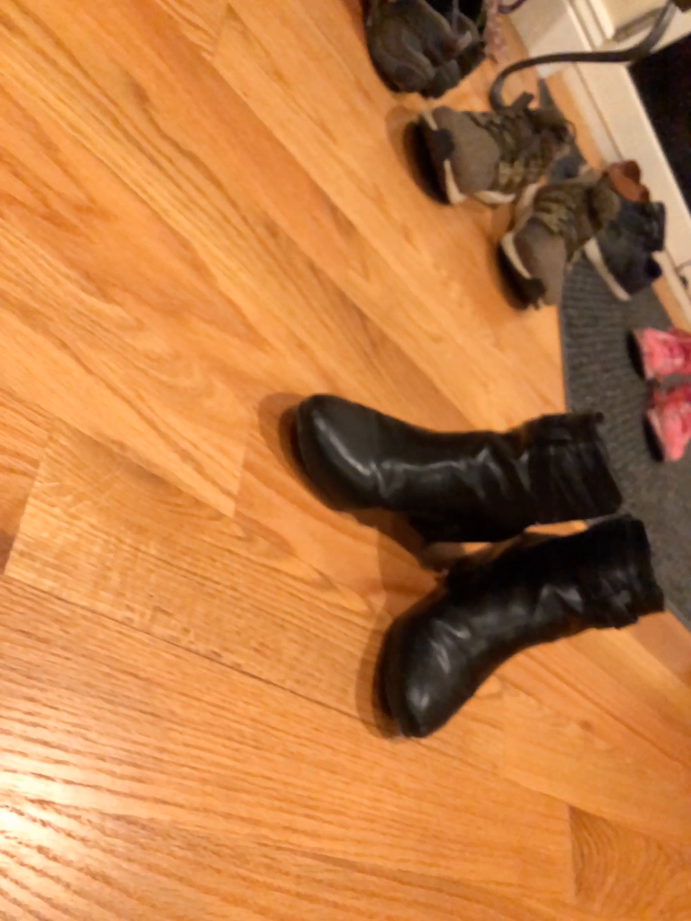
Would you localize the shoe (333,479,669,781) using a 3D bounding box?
[{"bbox_3d":[0.129,0.119,0.576,0.227,0.172,0.090,-40,109,-55],"label":"shoe"}]

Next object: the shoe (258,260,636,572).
[{"bbox_3d":[0.081,-0.012,0.563,0.227,0.172,0.090,35,48,-43],"label":"shoe"}]
